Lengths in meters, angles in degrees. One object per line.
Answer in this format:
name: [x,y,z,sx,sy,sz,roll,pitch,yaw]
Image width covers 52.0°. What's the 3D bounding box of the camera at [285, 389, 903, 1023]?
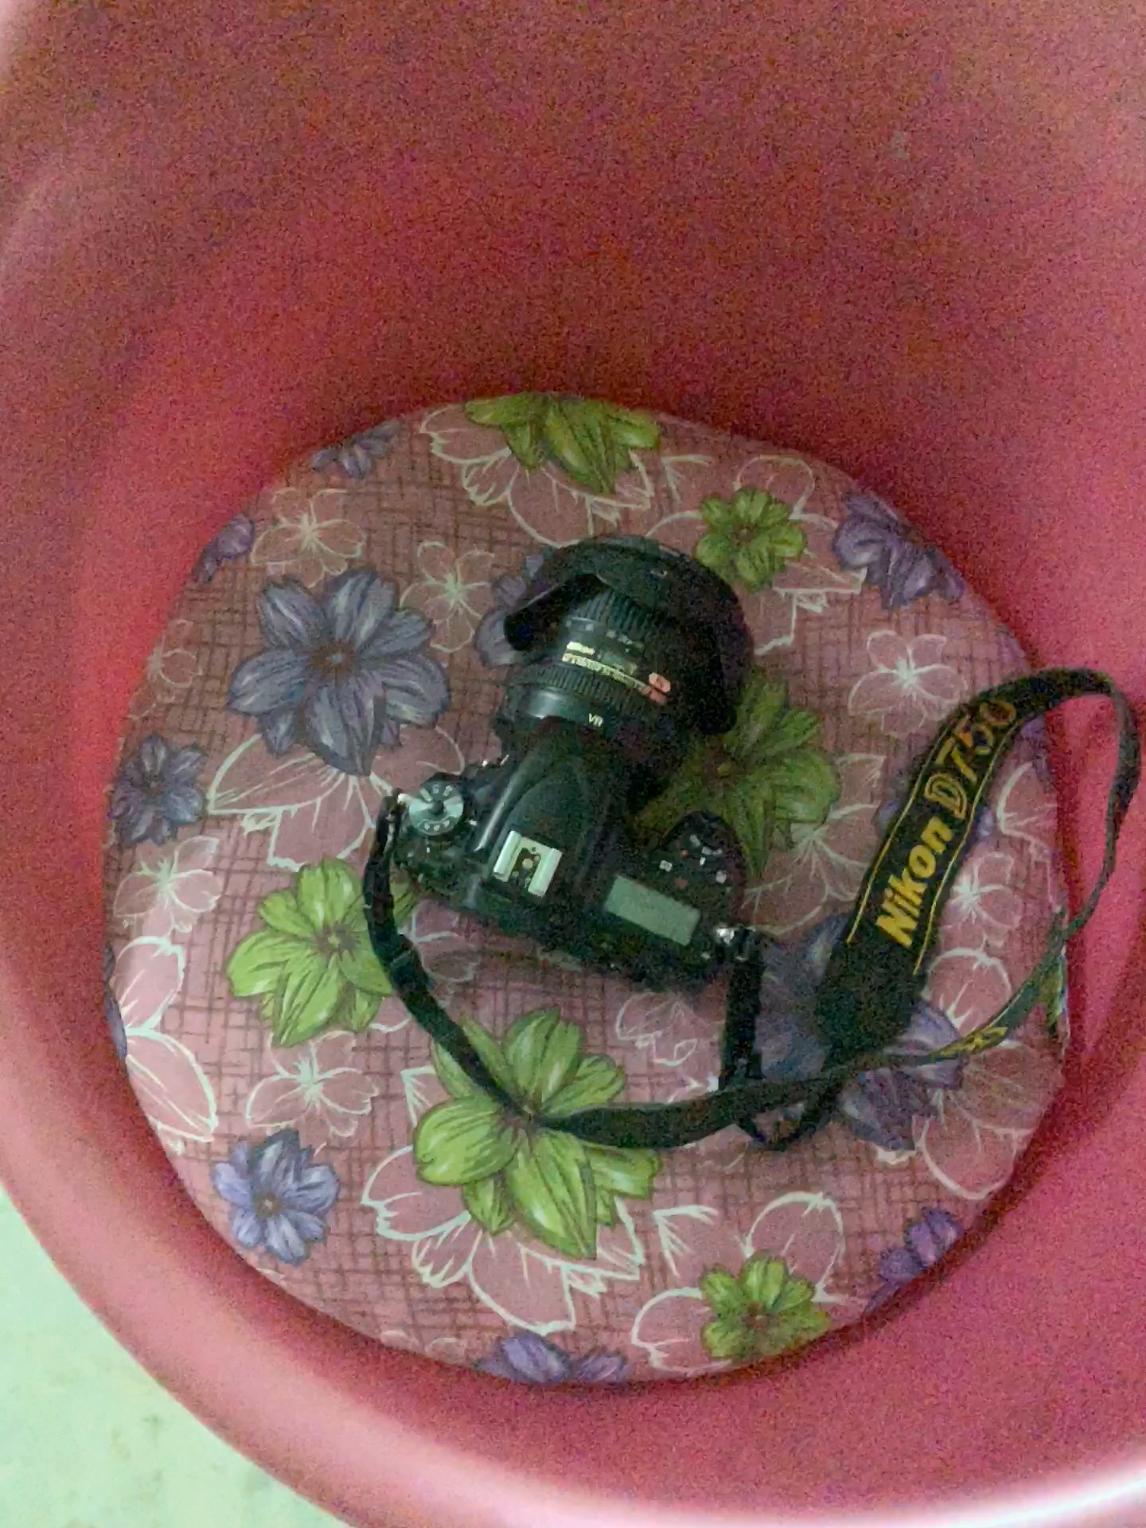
camera: [0.013,-0.016,0.496,0.166,0.130,0.191,23,79,8]
